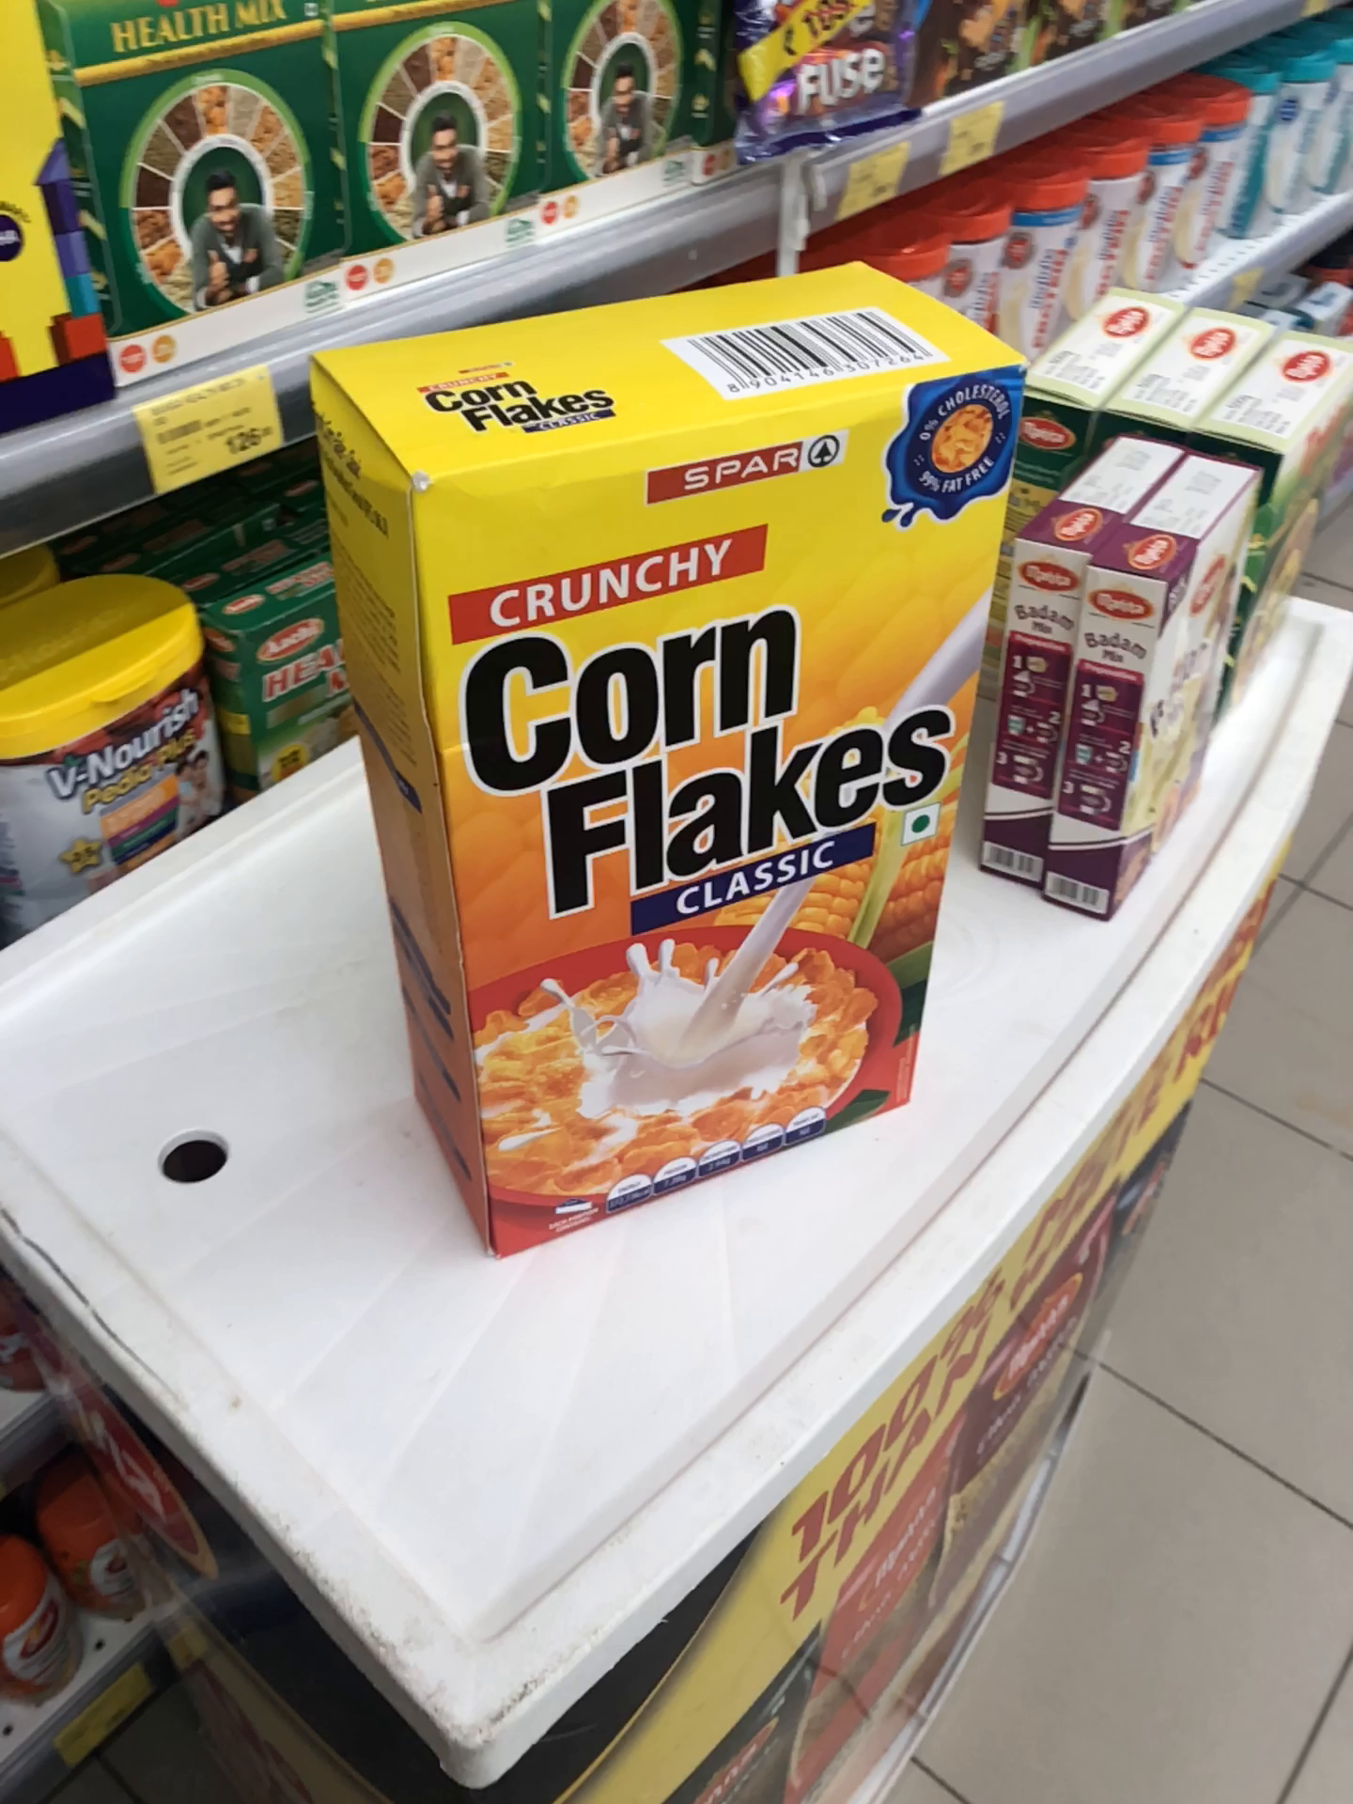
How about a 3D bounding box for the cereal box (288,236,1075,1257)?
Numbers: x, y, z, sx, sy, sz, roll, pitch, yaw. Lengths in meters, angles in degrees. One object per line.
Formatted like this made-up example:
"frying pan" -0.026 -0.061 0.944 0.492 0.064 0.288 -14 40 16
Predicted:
"cereal box" -0.002 -0.040 0.522 0.200 0.319 0.090 -17 45 -20
